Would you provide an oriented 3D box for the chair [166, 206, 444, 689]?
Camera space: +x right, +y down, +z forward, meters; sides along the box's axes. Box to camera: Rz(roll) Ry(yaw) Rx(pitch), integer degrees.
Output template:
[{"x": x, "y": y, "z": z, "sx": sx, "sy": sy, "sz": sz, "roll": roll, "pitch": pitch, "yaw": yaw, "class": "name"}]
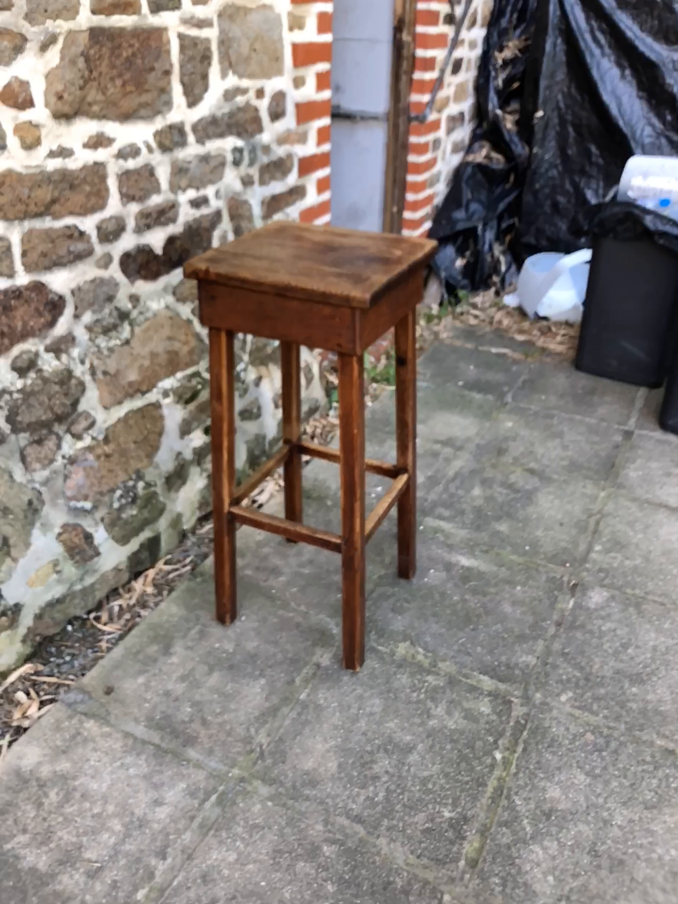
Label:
[{"x": -0.047, "y": -0.005, "z": 1.428, "sx": 0.330, "sy": 0.795, "sz": 0.352, "roll": 14, "pitch": 34, "yaw": 21, "class": "chair"}]
